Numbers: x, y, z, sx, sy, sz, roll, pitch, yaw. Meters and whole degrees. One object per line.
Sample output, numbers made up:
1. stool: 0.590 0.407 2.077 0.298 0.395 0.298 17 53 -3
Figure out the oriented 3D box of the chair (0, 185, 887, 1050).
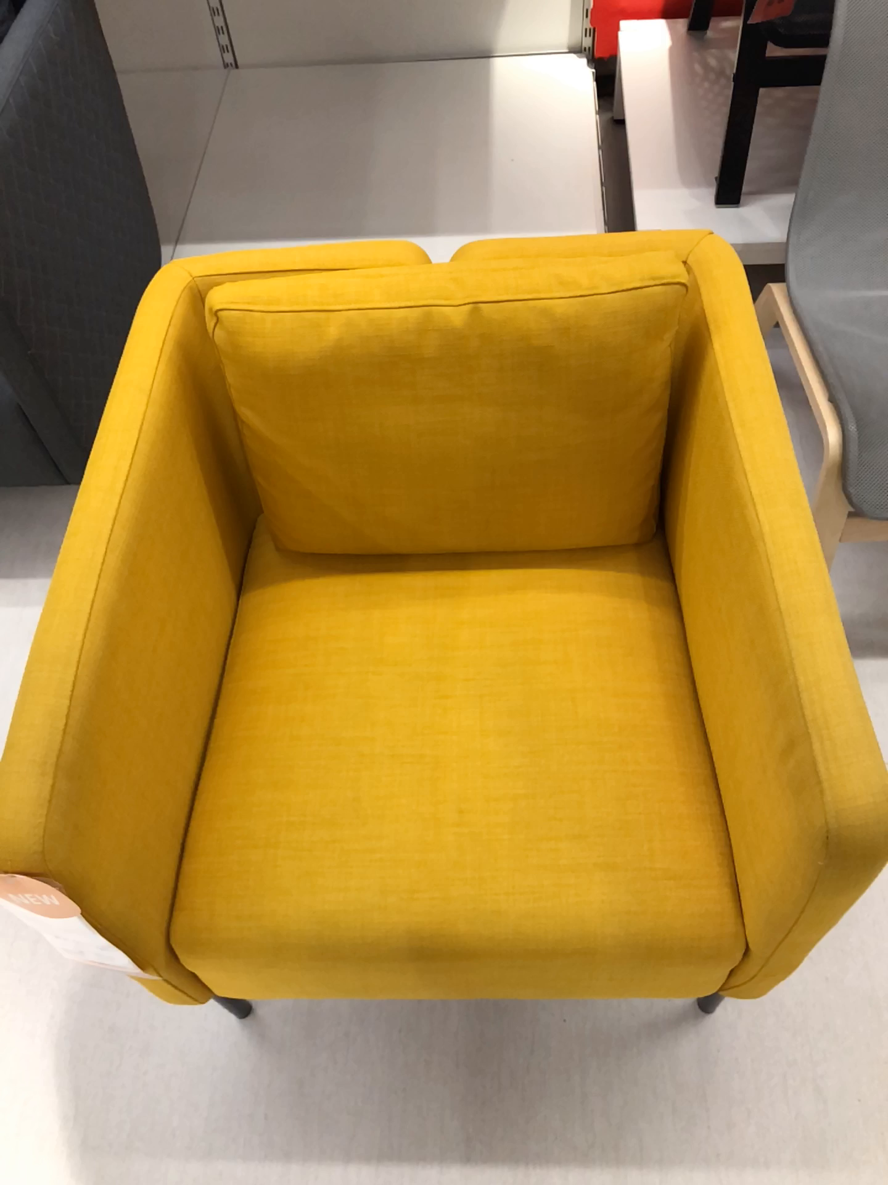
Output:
1. chair: 0.024 0.083 1.073 0.720 0.697 0.663 -2 56 4
